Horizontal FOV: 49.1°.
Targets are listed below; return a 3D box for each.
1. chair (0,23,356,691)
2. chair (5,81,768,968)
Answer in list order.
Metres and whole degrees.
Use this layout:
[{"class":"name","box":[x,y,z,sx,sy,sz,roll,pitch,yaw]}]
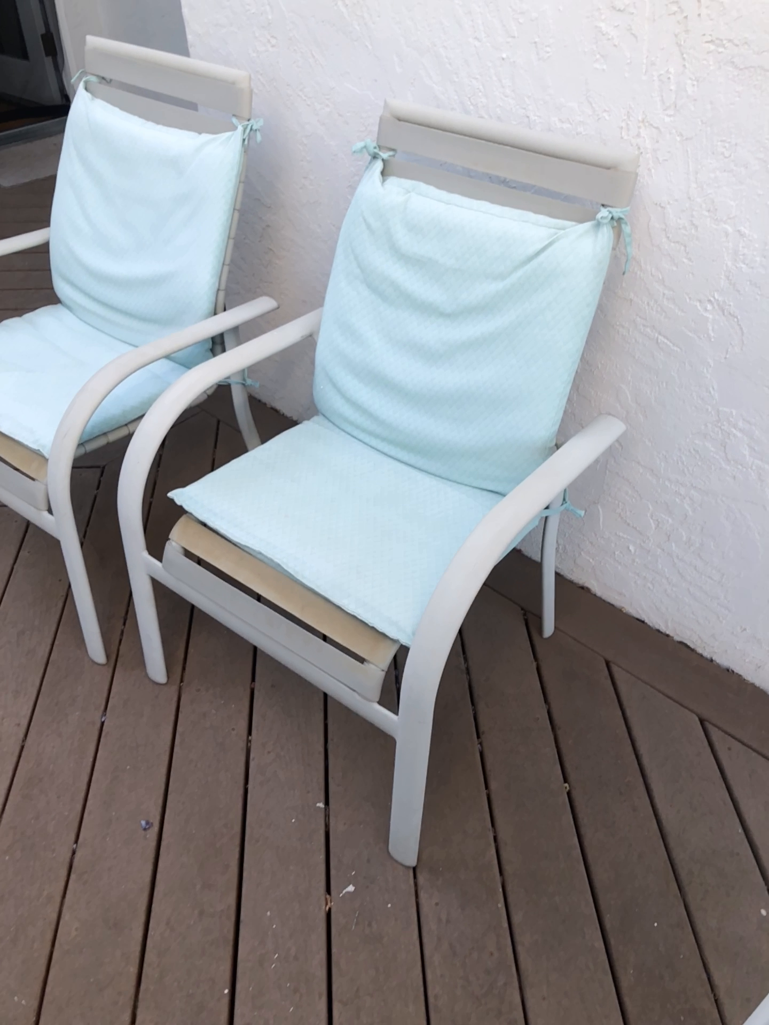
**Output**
[{"class":"chair","box":[-0.590,-0.354,1.752,0.701,0.965,0.783,28,48,28]},{"class":"chair","box":[0.066,0.005,1.666,0.842,1.273,0.873,28,48,28]}]
